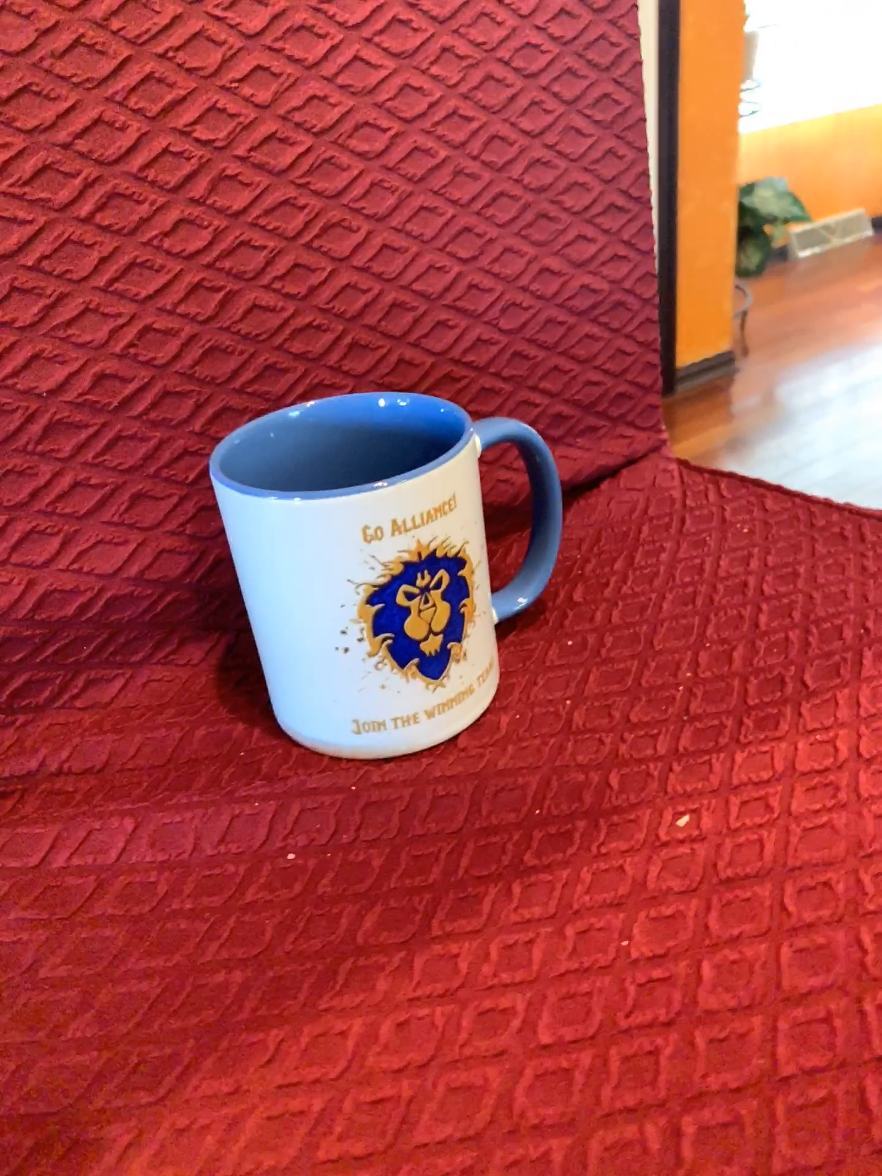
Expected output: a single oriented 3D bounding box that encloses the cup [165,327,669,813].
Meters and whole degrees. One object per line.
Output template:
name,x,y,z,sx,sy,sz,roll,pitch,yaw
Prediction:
cup,-0.006,-0.017,0.317,0.130,0.099,0.101,-22,34,-23
